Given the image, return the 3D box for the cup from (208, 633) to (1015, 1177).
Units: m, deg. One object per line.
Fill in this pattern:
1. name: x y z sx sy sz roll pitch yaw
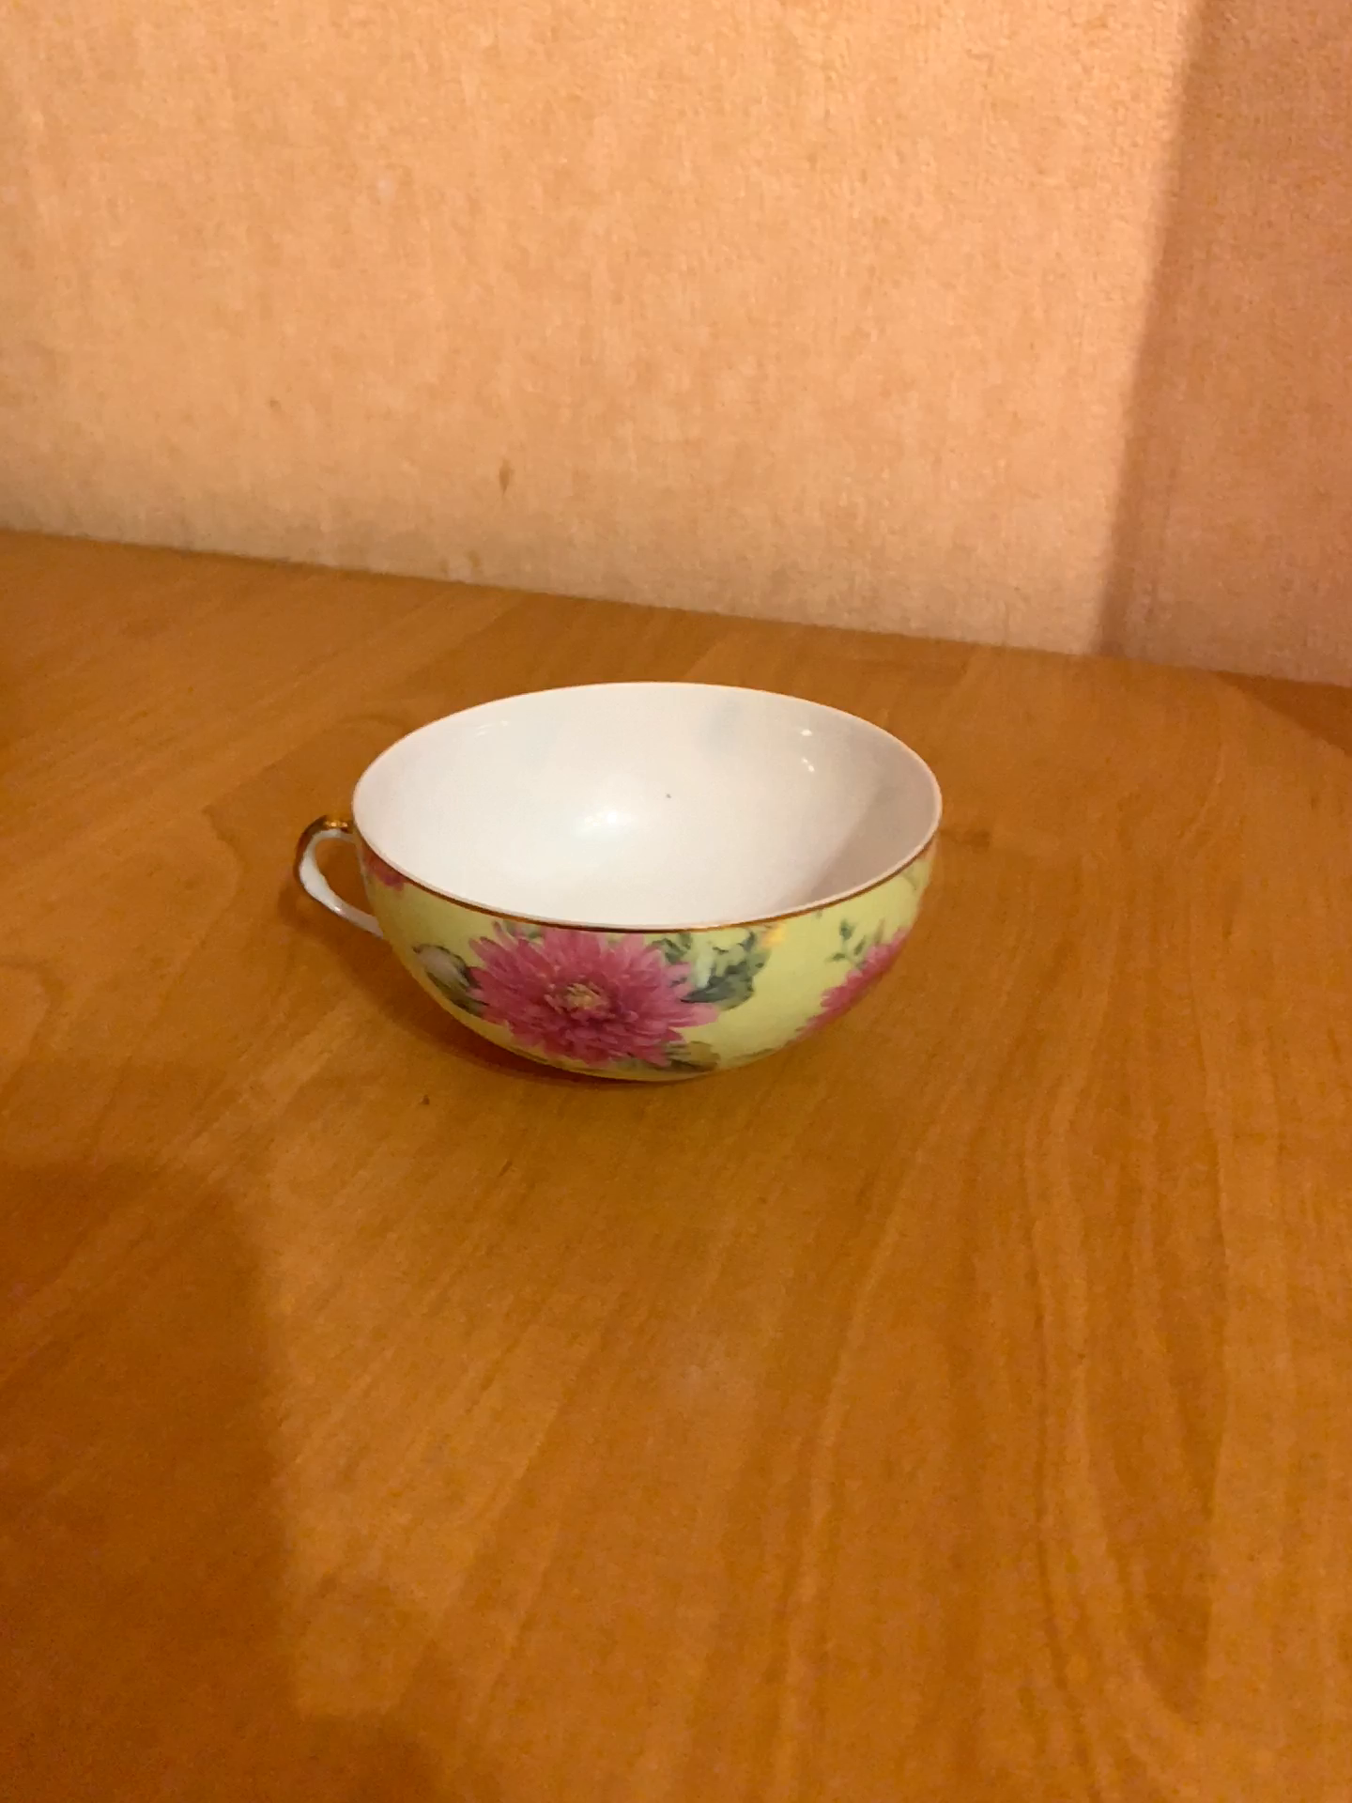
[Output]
1. cup: -0.006 -0.007 0.245 0.113 0.045 0.079 10 30 18
